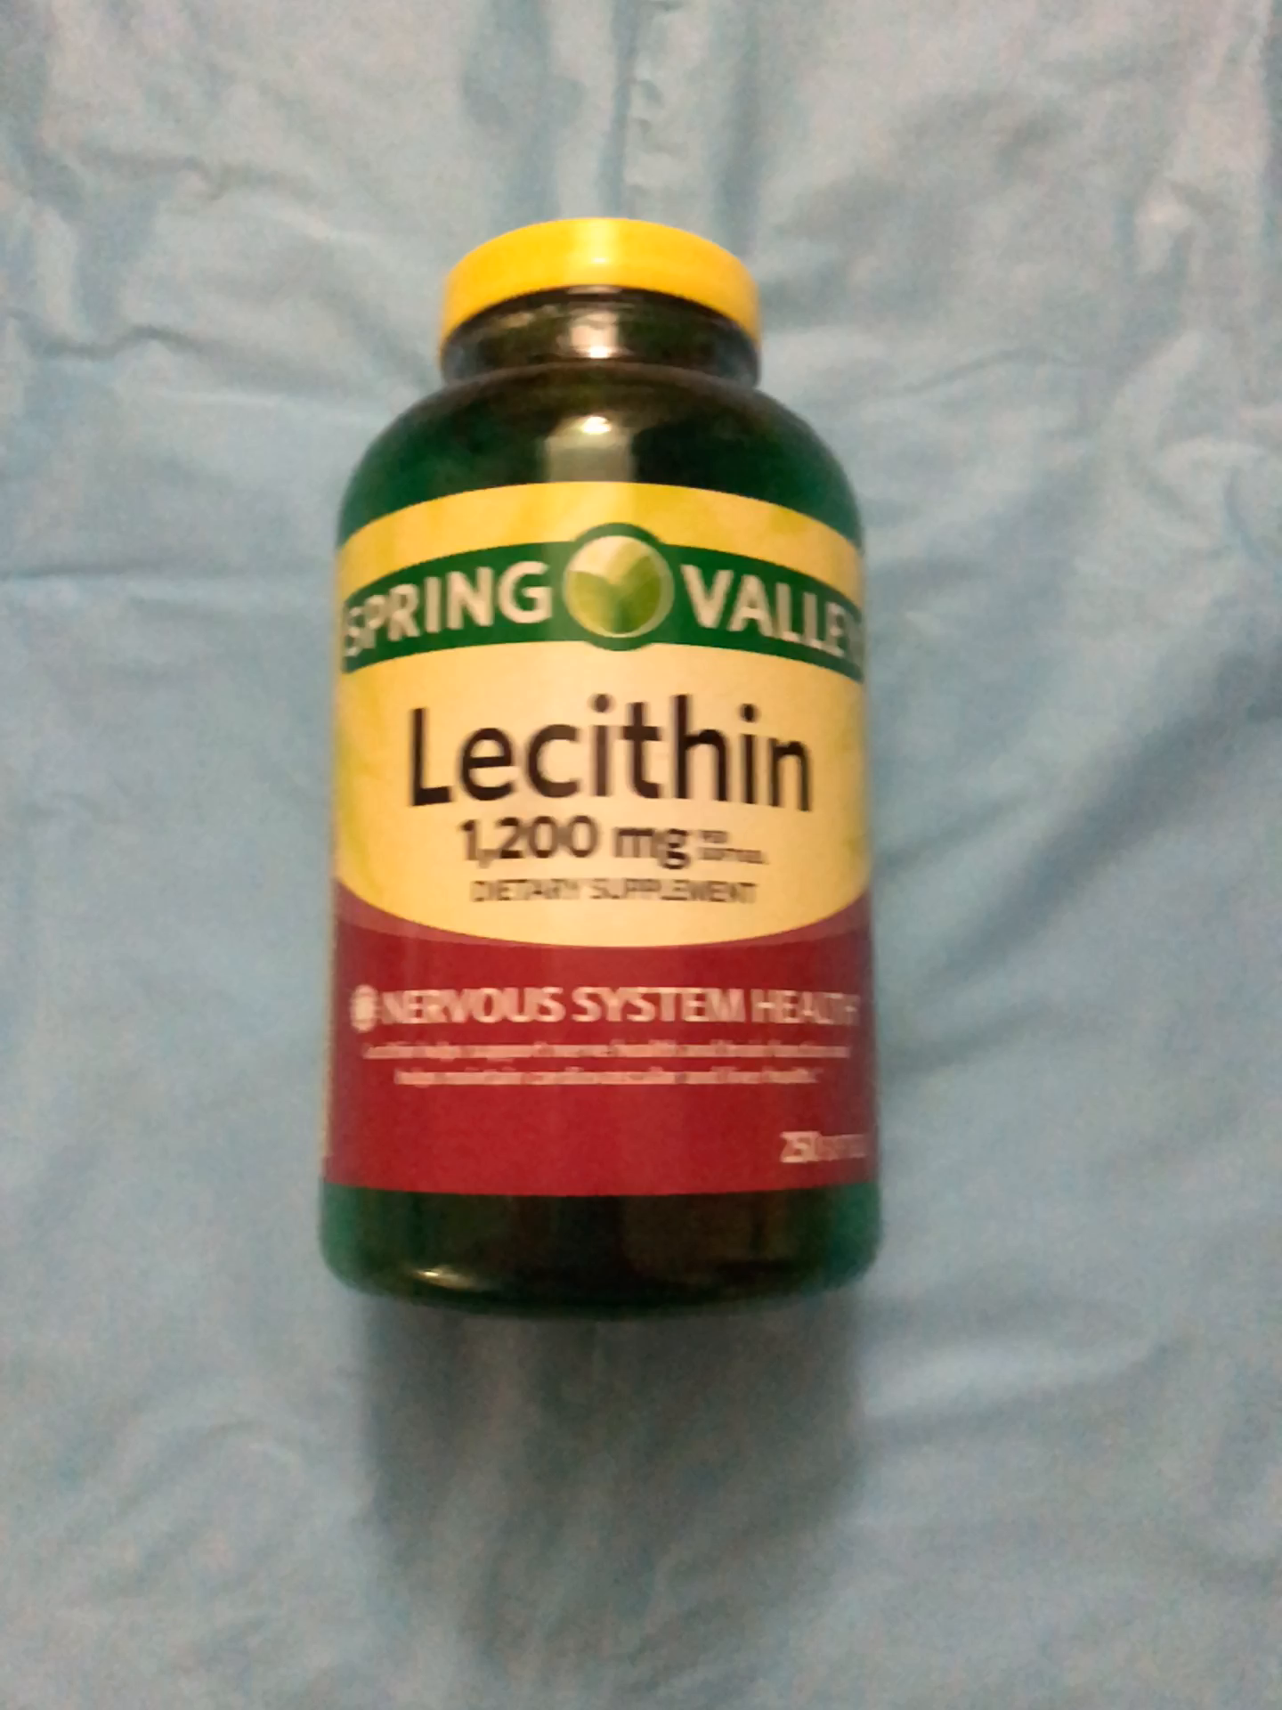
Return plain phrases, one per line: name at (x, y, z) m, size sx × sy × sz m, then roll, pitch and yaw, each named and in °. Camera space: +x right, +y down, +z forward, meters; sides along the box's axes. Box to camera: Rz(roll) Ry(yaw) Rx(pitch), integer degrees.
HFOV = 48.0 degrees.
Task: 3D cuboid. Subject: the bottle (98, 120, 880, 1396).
bottle at (-0.016, -0.011, 0.237) m, size 0.100 × 0.090 × 0.170 m, roll 0°, pitch 83°, yaw 5°
